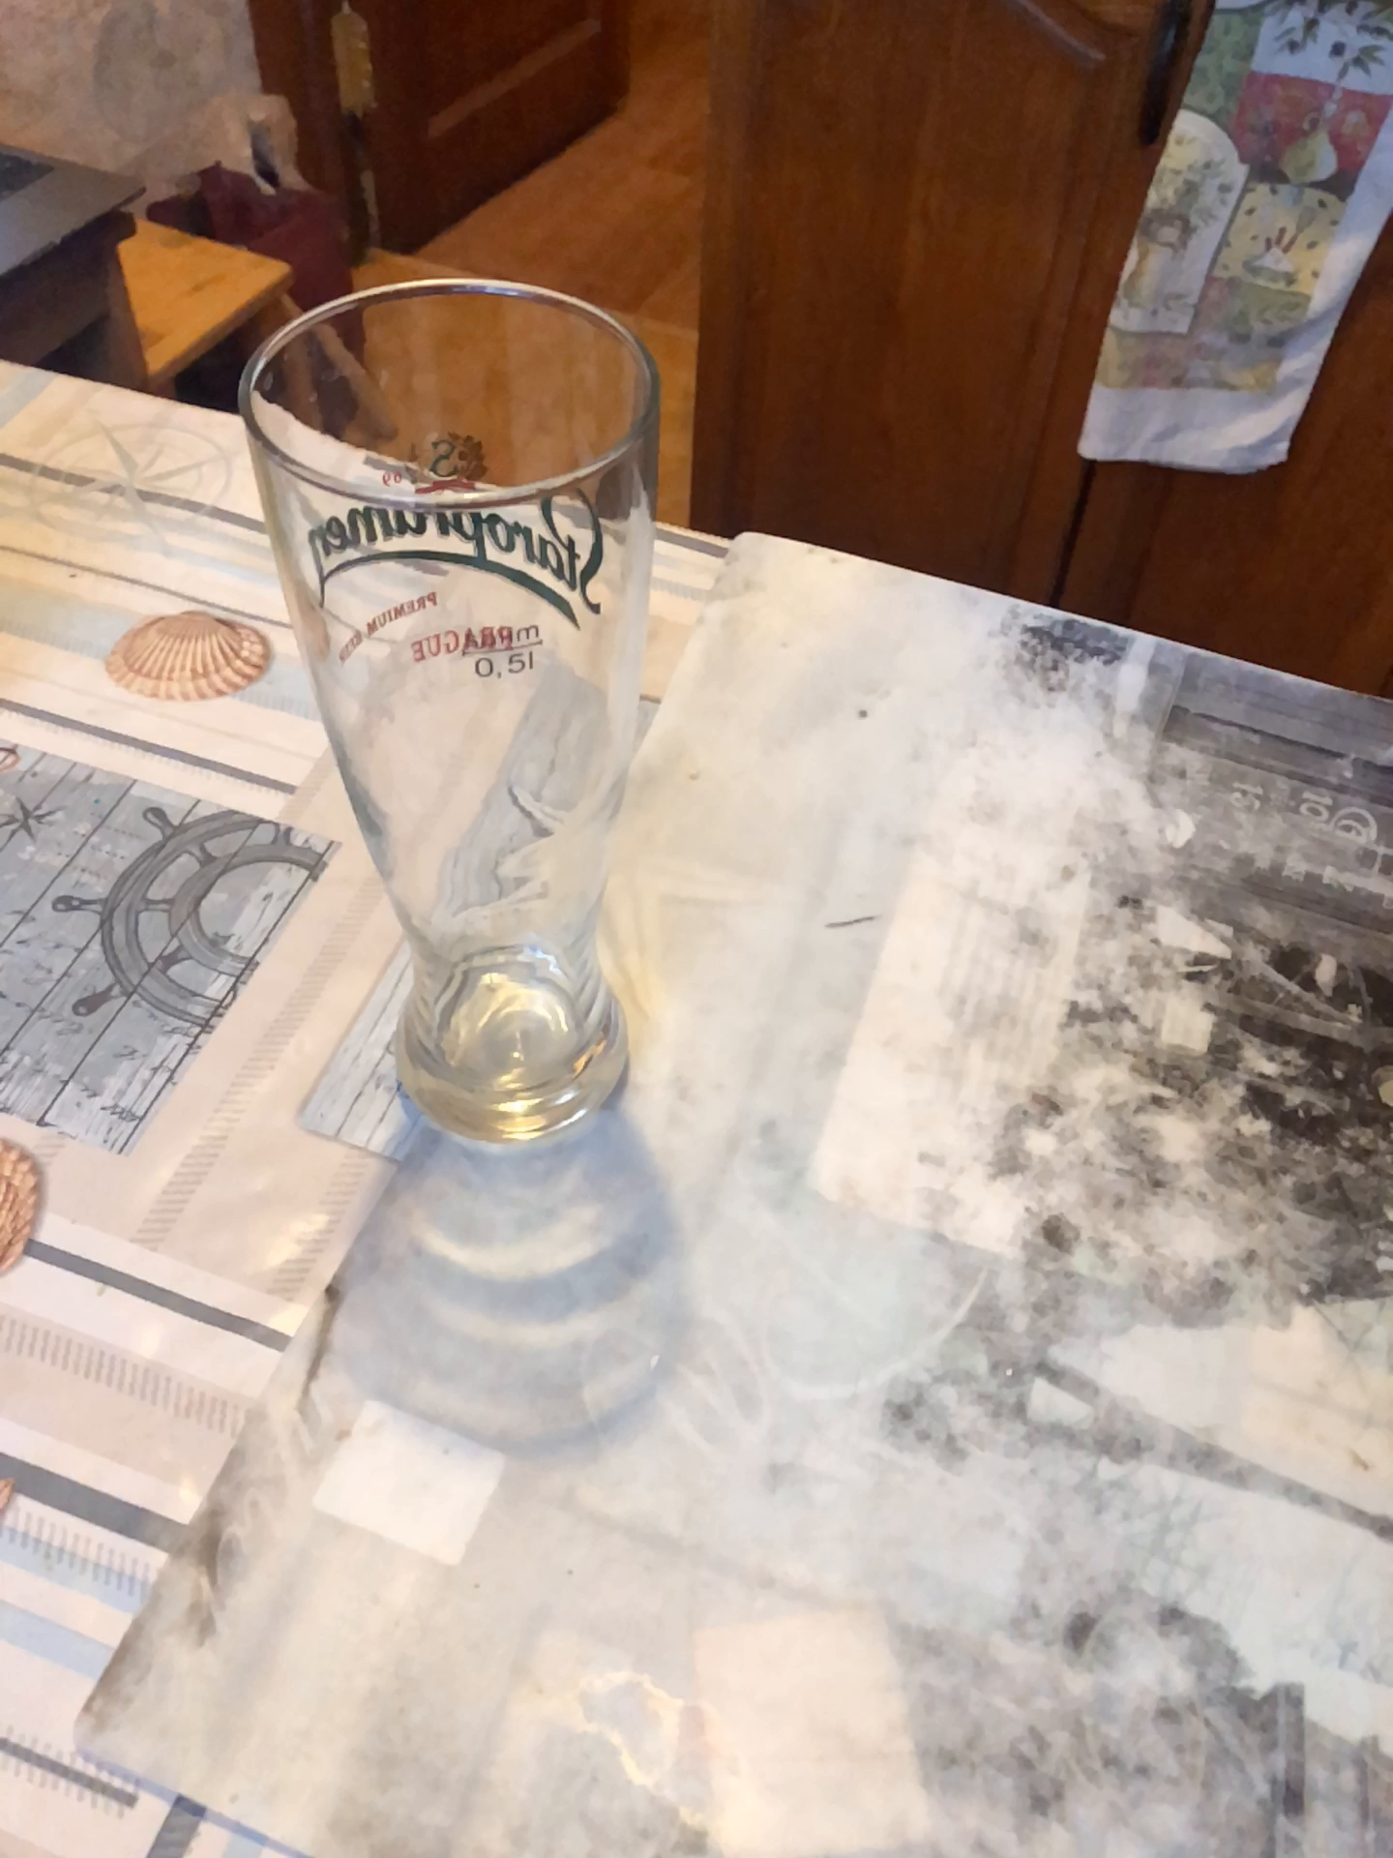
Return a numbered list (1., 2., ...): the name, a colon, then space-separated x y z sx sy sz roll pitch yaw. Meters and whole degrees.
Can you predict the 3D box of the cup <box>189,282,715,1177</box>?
1. cup: -0.049 -0.037 0.366 0.088 0.192 0.099 -2 49 -5
